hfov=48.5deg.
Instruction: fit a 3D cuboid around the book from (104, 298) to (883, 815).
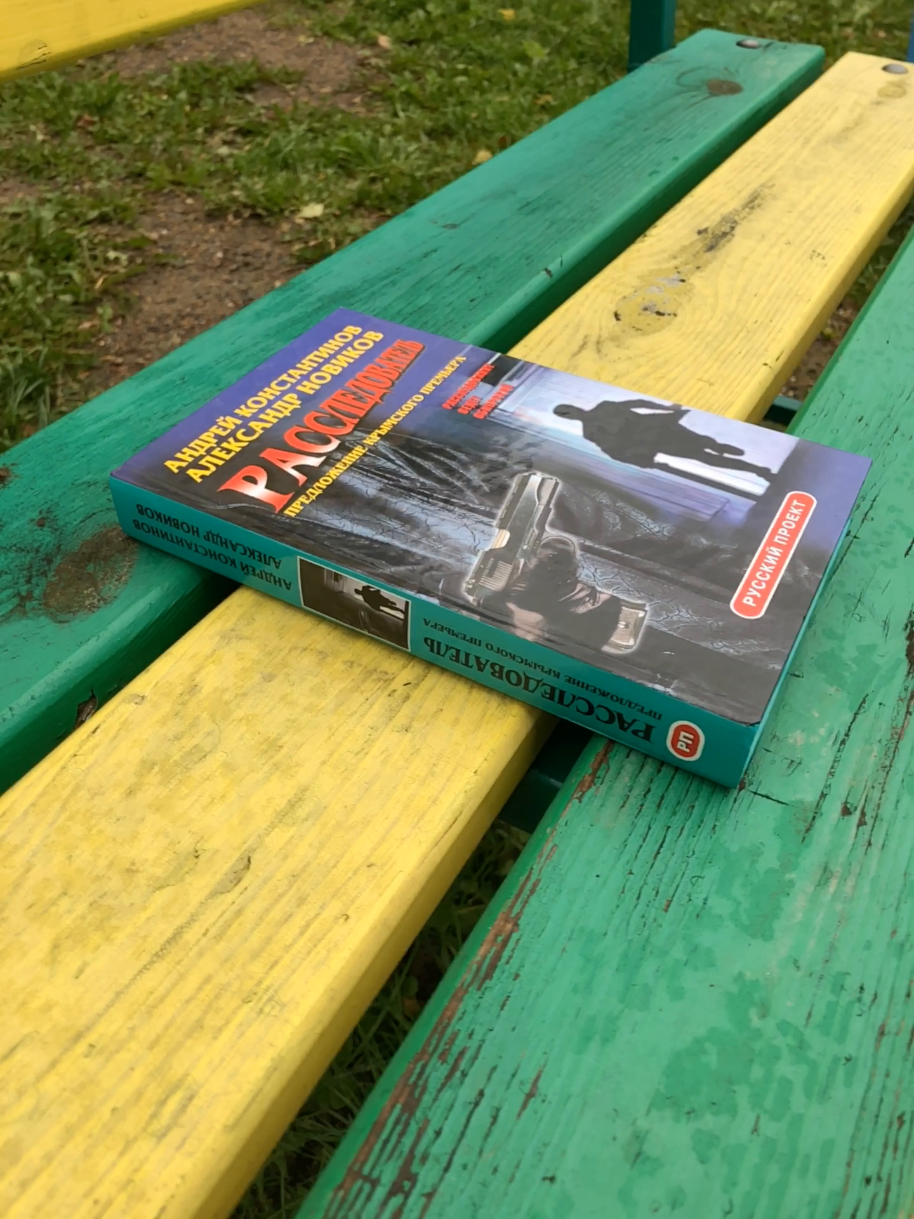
[{"bbox_3d":[0.015,-0.035,0.325,0.202,0.031,0.139,21,46,20],"label":"book"}]
